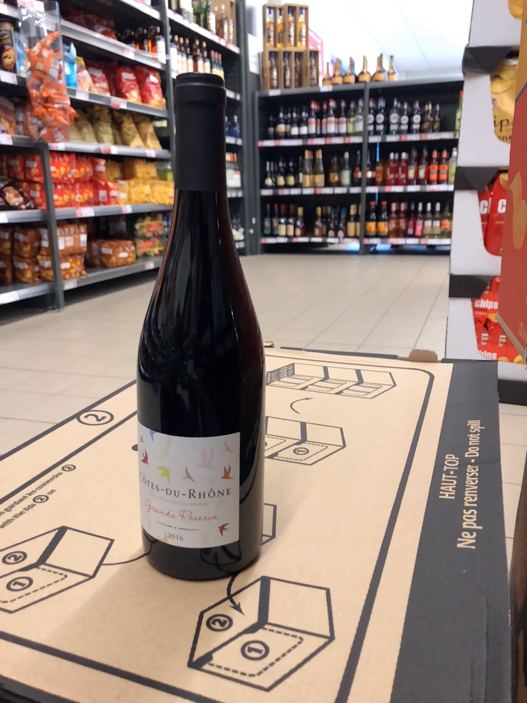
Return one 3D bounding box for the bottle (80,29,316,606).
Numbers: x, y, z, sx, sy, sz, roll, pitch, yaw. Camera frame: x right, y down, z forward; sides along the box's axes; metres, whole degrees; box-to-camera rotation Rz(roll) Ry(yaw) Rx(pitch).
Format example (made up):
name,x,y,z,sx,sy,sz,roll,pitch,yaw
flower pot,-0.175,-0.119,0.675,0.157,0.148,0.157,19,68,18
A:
name,x,y,z,sx,sy,sz,roll,pitch,yaw
bottle,-0.029,-0.015,0.345,0.100,0.289,0.090,3,12,16
